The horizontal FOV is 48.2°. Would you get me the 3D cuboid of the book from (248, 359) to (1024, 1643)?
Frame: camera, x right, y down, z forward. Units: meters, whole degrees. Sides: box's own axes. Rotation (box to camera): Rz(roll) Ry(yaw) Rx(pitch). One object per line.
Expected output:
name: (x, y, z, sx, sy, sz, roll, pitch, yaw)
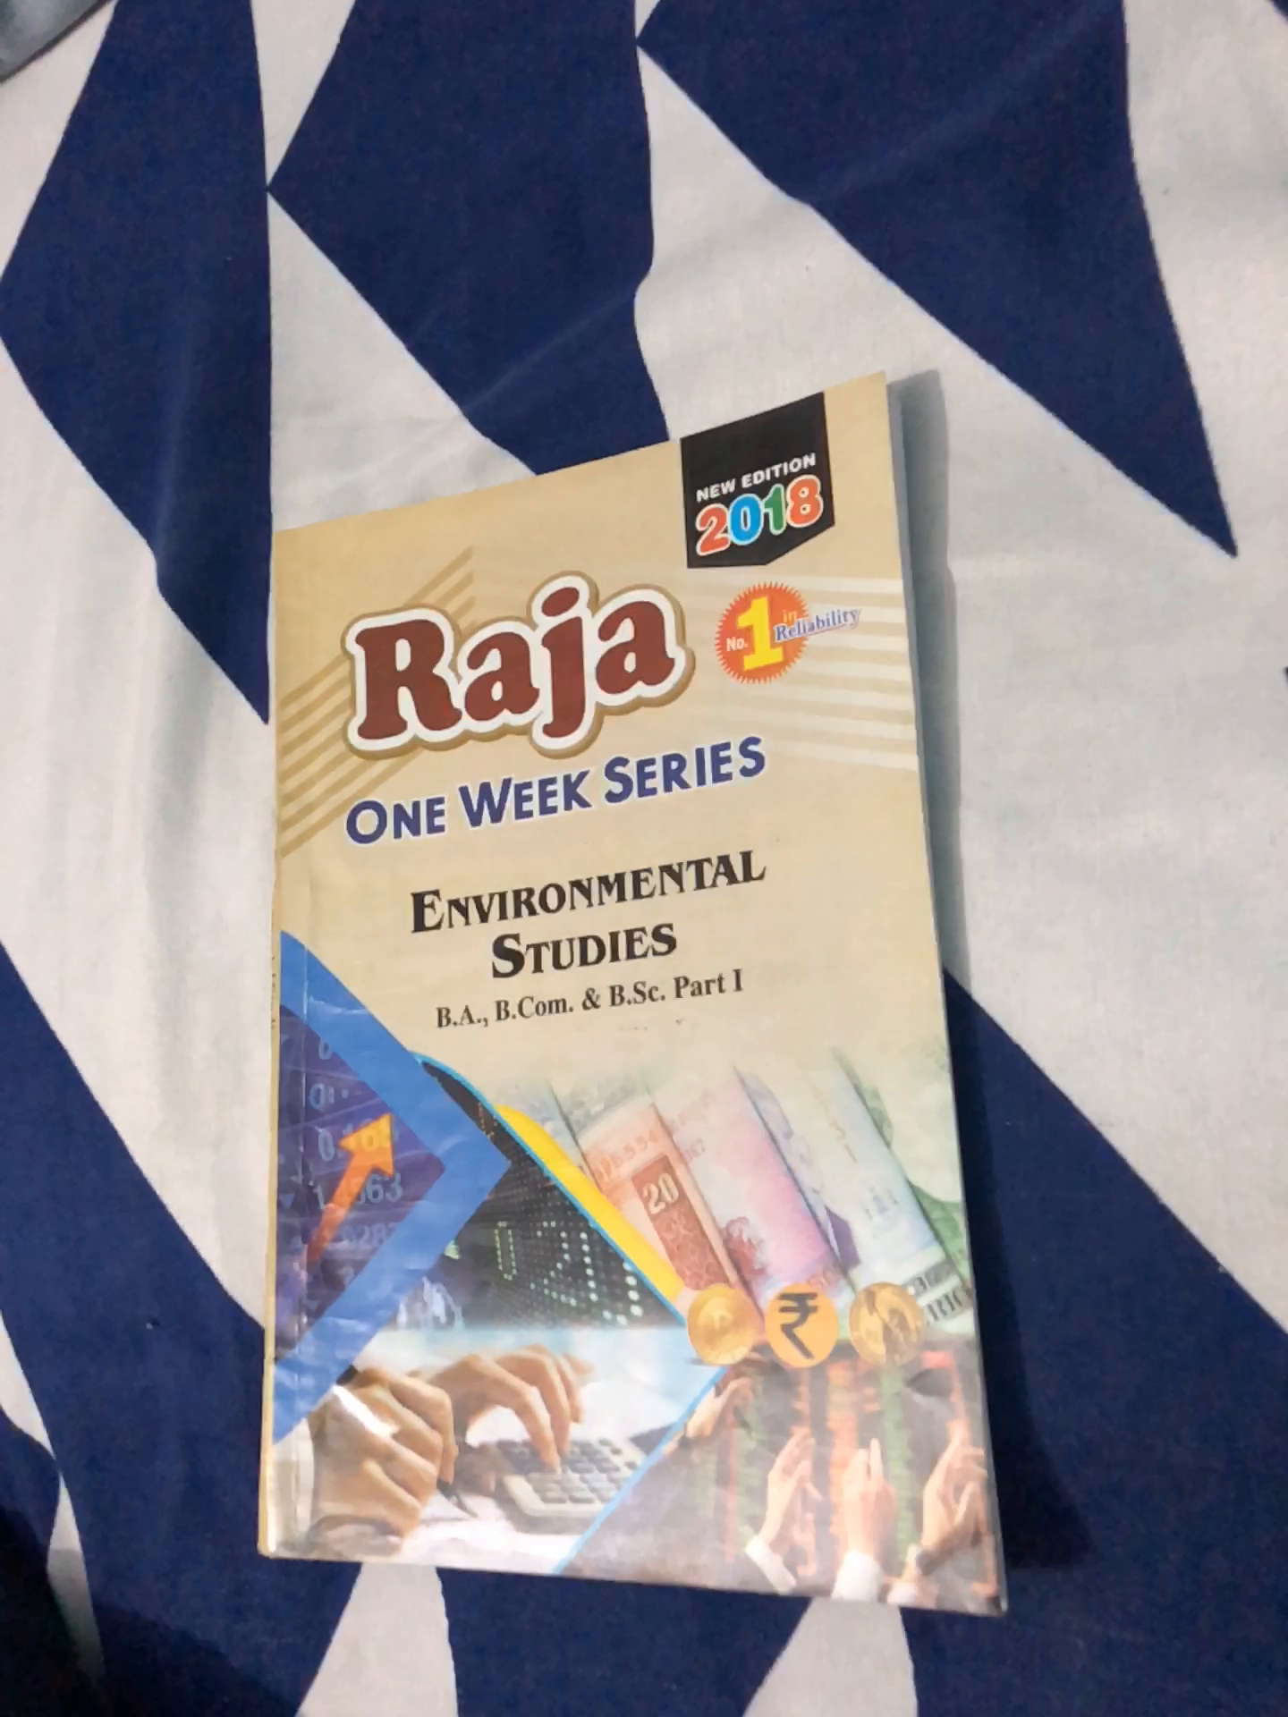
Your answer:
book: (-0.013, 0.023, 0.259, 0.140, 0.010, 0.200, -9, 75, 27)
